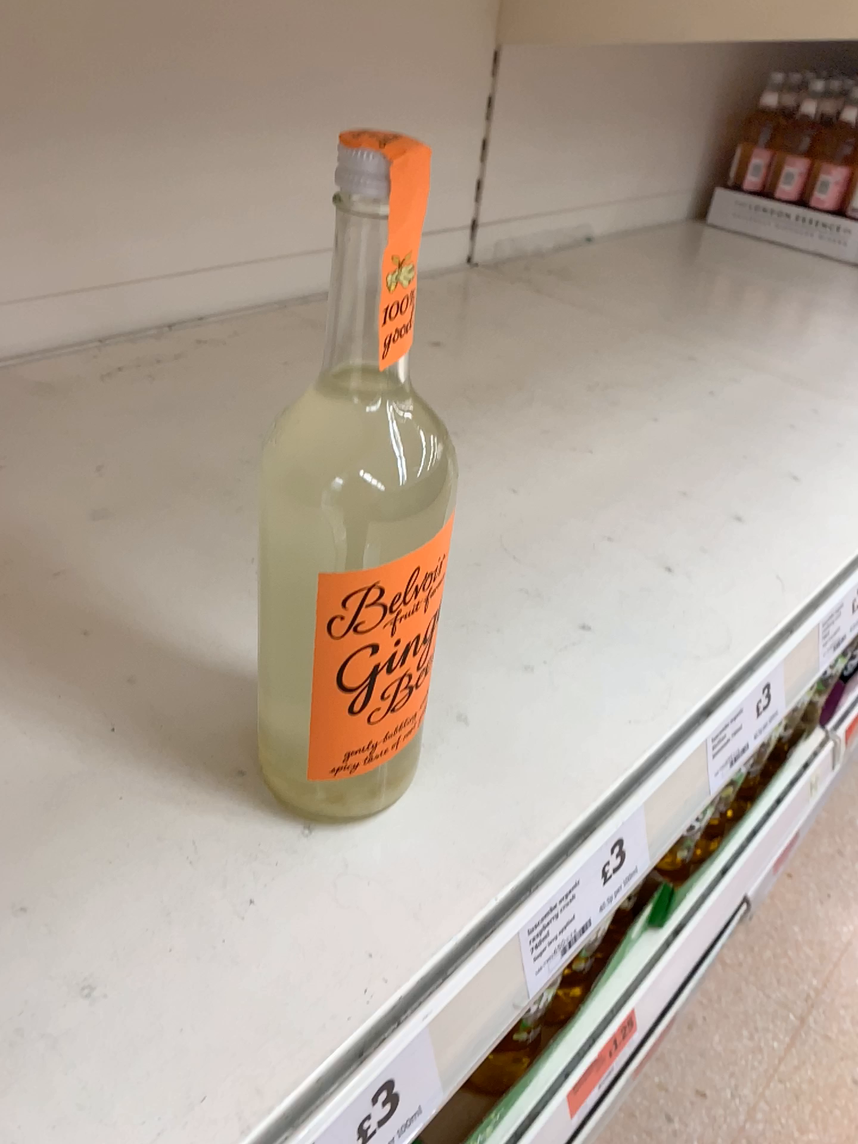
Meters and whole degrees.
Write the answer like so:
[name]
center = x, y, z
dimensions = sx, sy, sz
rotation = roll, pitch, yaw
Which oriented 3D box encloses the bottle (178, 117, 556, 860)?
[bottle]
center = -0.035, -0.024, 0.360
dimensions = 0.084, 0.277, 0.090
rotation = 5, 34, -3
